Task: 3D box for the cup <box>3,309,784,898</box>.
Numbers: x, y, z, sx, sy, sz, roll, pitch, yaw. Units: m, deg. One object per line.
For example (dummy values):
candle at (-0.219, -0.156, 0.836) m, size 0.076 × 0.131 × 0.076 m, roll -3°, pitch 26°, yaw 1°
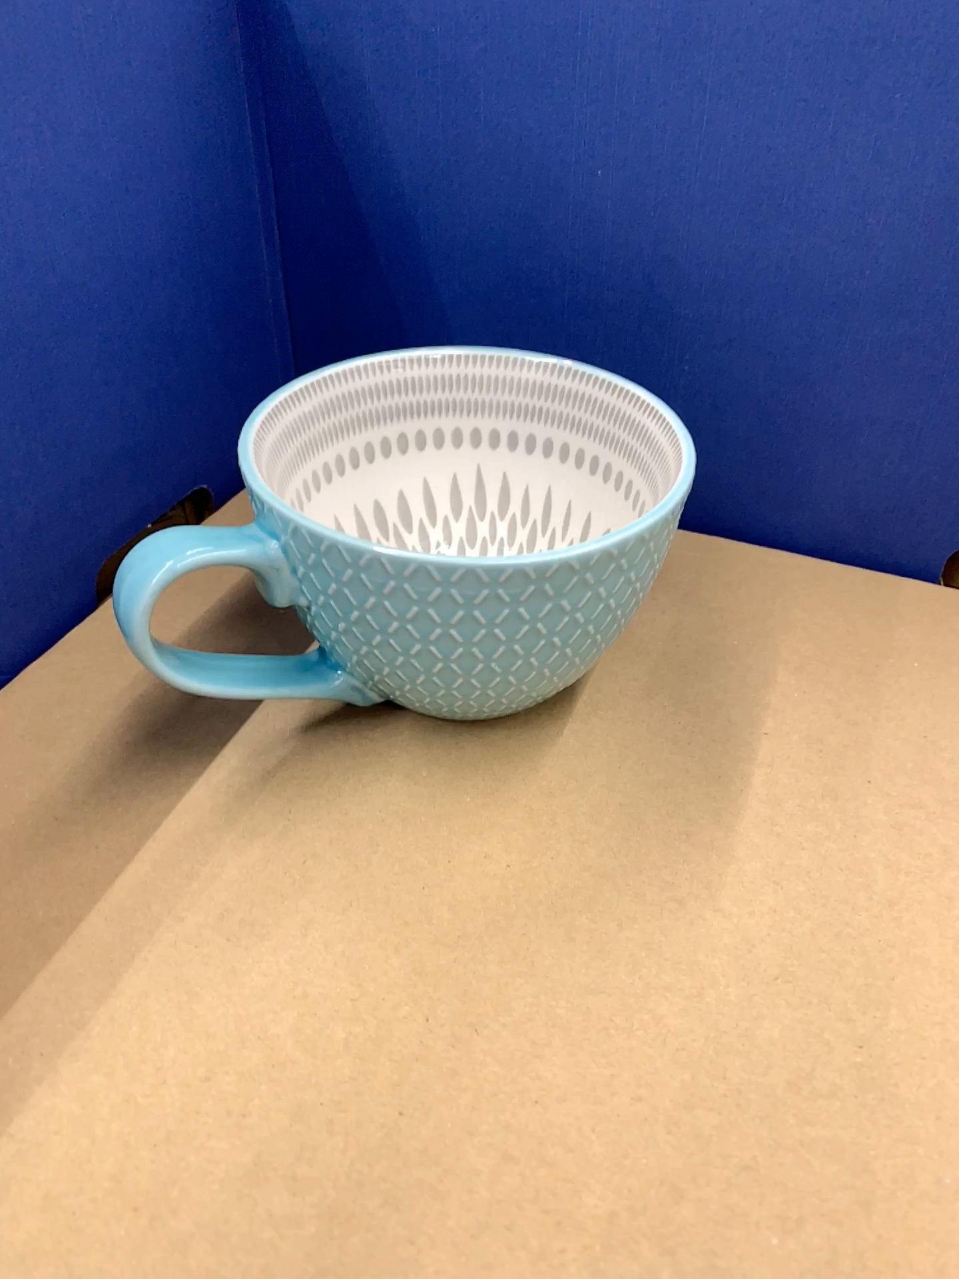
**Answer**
cup at (-0.023, -0.024, 0.257) m, size 0.152 × 0.059 × 0.113 m, roll -20°, pitch 45°, yaw -25°
